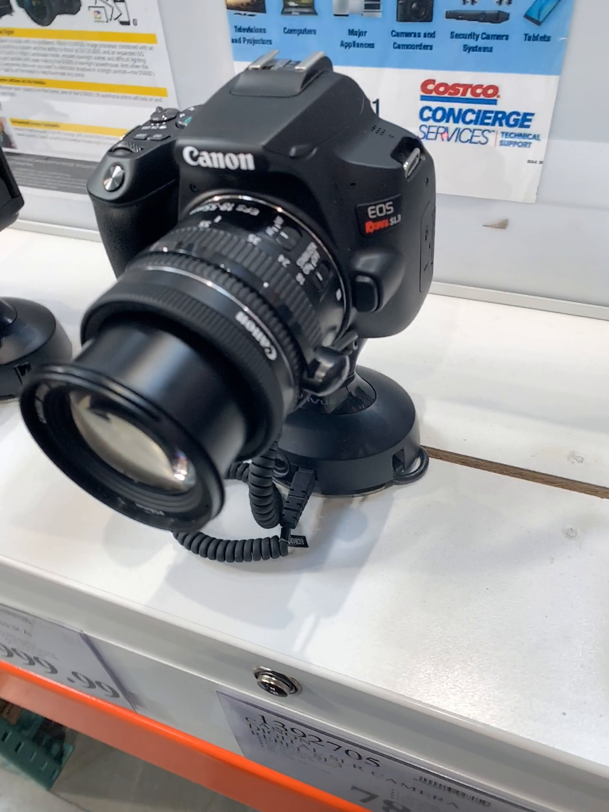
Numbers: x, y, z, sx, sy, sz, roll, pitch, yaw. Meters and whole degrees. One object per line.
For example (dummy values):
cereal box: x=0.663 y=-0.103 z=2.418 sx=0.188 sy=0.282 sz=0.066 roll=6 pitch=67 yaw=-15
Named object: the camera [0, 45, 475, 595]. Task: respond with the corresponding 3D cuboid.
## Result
camera: x=-0.026 y=-0.042 z=0.188 sx=0.119 sy=0.079 sz=0.141 roll=12 pitch=47 yaw=17
